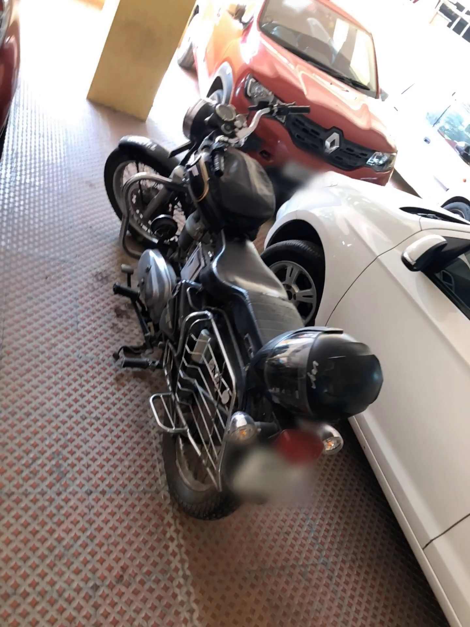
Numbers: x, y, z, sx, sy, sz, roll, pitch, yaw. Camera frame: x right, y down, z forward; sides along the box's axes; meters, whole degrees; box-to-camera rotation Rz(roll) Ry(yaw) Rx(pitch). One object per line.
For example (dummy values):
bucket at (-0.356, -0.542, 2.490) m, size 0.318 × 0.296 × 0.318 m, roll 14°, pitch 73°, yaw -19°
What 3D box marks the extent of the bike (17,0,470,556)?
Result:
bike at (-0.226, -0.264, 1.976) m, size 0.692 × 1.218 × 1.790 m, roll 6°, pitch 45°, yaw -36°
